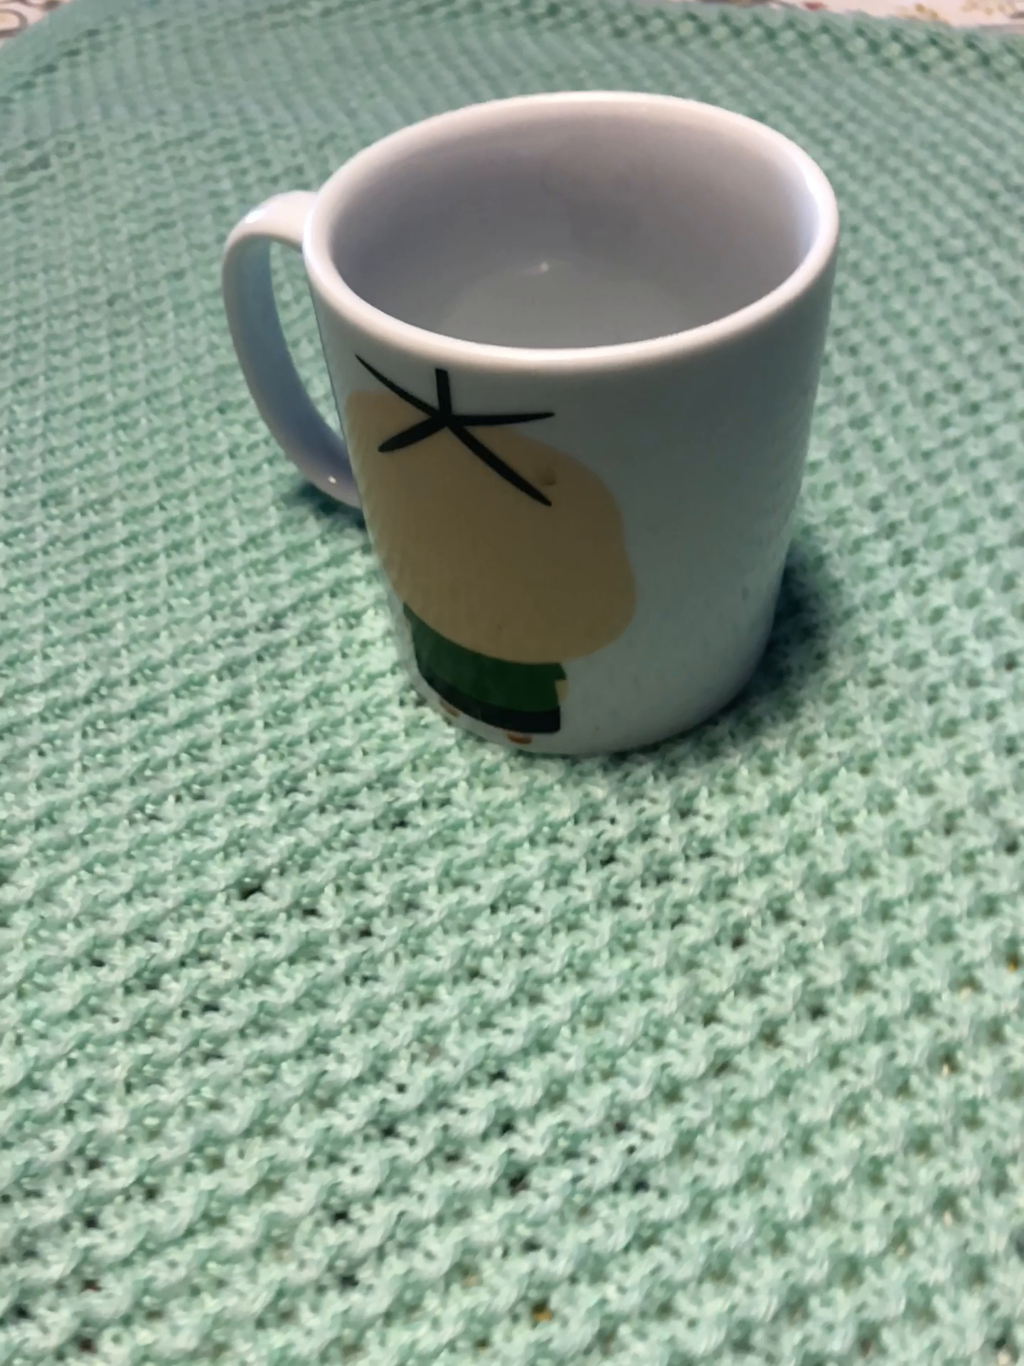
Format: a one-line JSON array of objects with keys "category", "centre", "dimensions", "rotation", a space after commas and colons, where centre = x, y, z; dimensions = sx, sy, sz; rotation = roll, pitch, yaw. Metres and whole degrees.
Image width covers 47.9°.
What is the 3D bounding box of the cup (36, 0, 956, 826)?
[{"category": "cup", "centre": [-0.001, -0.059, 0.236], "dimensions": [0.130, 0.099, 0.090], "rotation": [25, 56, 22]}]
